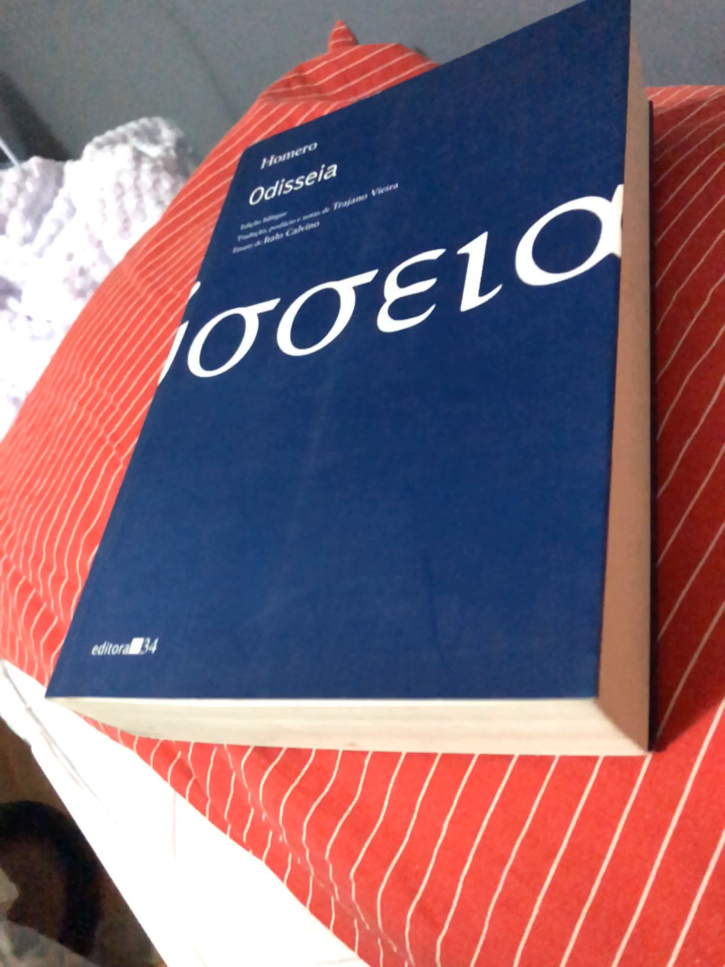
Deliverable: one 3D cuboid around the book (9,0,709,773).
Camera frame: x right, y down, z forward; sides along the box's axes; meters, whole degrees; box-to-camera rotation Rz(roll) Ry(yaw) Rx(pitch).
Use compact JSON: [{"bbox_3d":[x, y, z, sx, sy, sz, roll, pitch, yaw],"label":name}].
[{"bbox_3d":[0.007,-0.042,0.244,0.170,0.040,0.231,-9,54,33],"label":"book"}]
